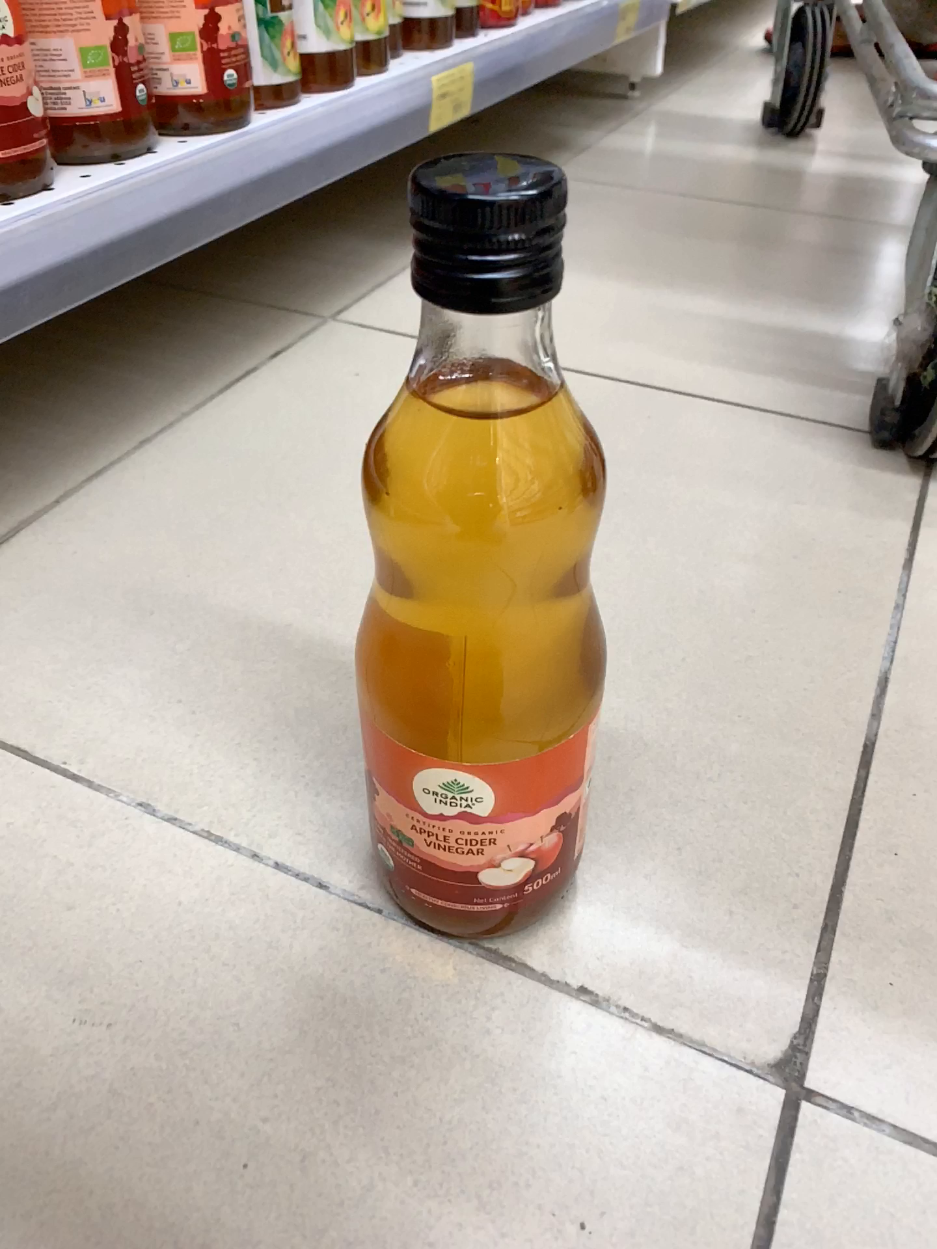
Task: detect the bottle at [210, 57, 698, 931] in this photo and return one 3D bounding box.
[{"bbox_3d":[0.003,-0.020,0.252,0.080,0.209,0.080,0,39,0],"label":"bottle"}]
